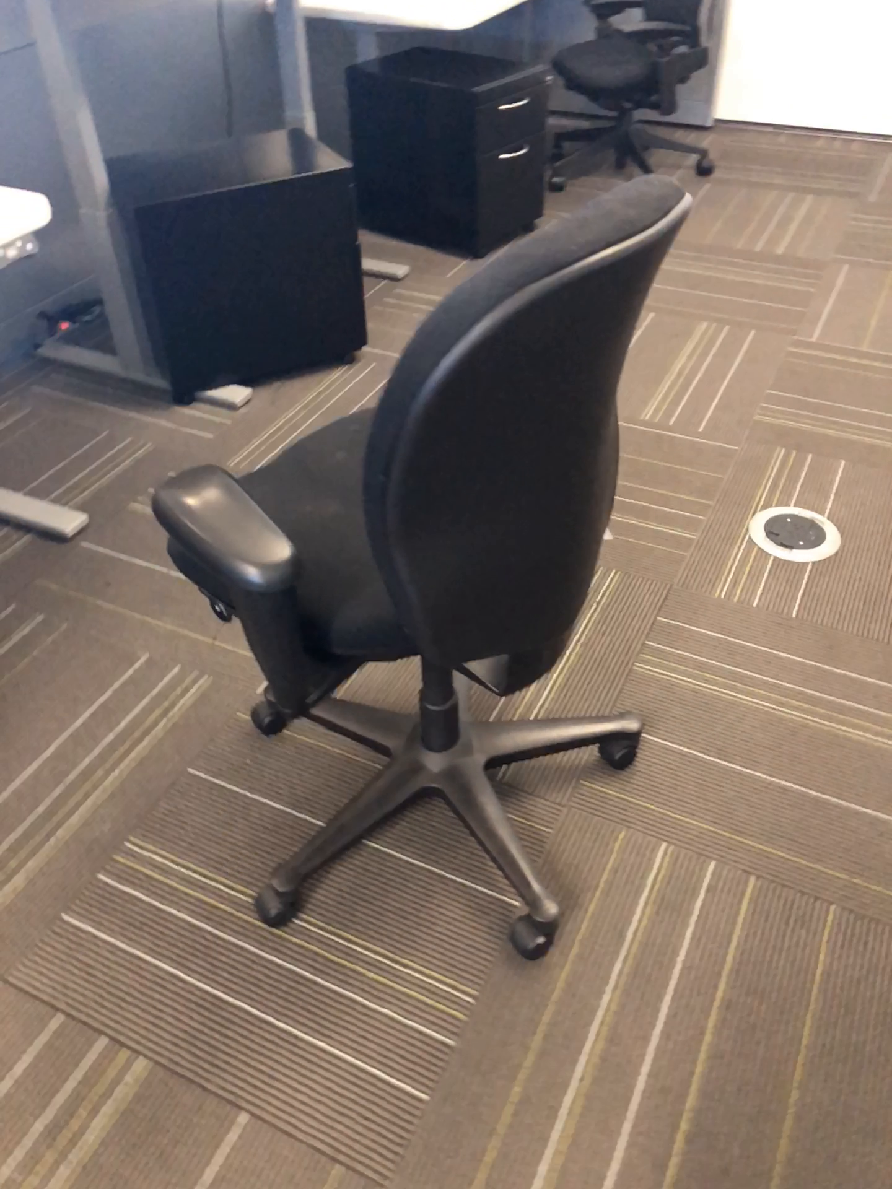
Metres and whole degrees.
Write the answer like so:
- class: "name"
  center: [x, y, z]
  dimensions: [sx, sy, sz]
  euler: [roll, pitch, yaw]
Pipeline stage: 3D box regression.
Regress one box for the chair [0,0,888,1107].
- class: "chair"
  center: [-0.063, -0.087, 1.224]
  dimensions: [0.682, 0.995, 0.701]
  euler: [30, 50, 32]
